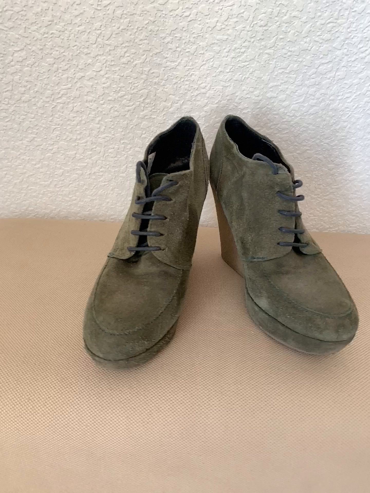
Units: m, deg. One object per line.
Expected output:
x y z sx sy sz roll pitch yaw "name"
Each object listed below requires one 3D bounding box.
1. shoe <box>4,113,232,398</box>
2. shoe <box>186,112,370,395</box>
-0.031 -0.016 0.339 0.086 0.136 0.230 11 35 14 "shoe"
0.080 -0.023 0.372 0.080 0.139 0.271 -8 35 -15 "shoe"
